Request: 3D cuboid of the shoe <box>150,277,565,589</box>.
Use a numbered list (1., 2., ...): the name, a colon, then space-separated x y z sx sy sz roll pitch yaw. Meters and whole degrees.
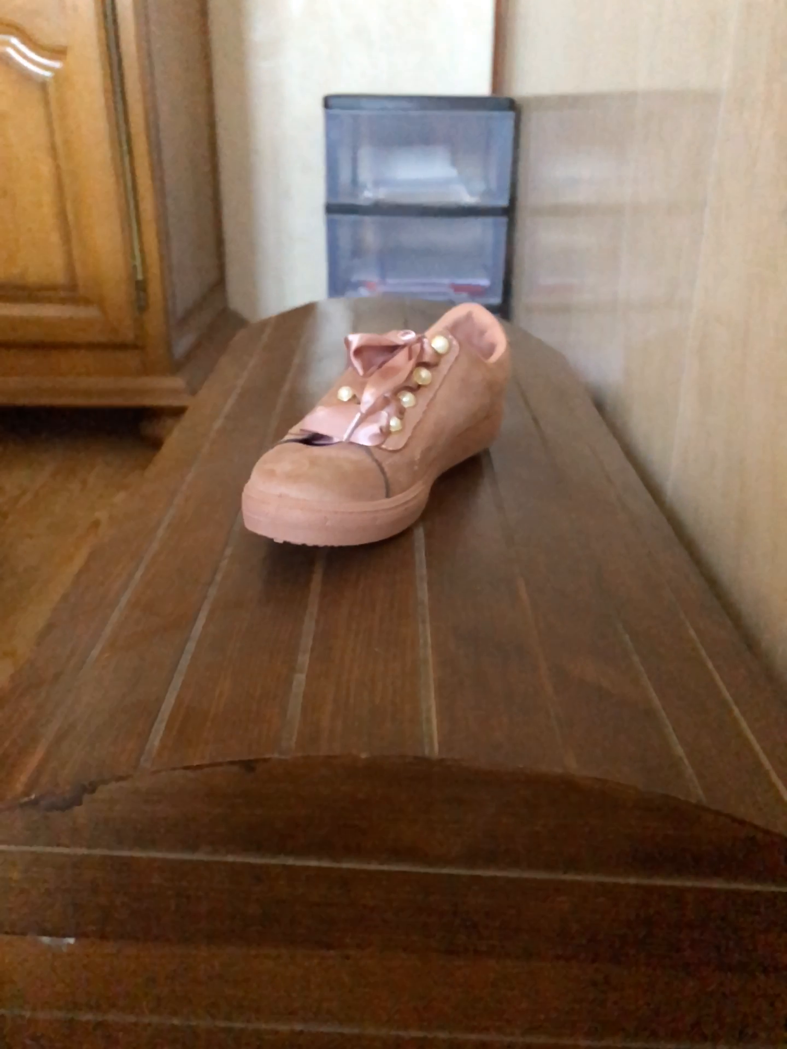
1. shoe: 0.000 -0.076 0.525 0.110 0.090 0.282 14 29 26
